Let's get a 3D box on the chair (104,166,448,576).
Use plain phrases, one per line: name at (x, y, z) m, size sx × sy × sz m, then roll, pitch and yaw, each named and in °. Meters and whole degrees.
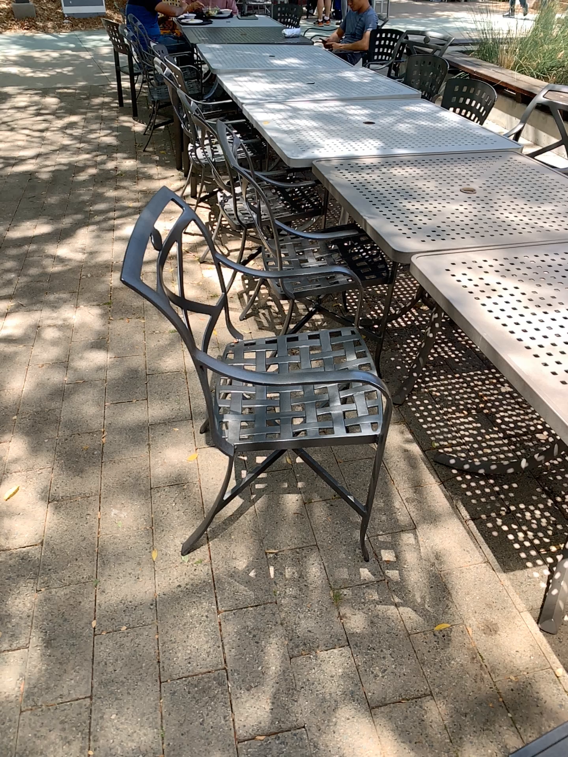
chair at (-0.023, -0.015, 1.543) m, size 0.610 × 0.885 × 0.634 m, roll 0°, pitch 37°, yaw -1°
